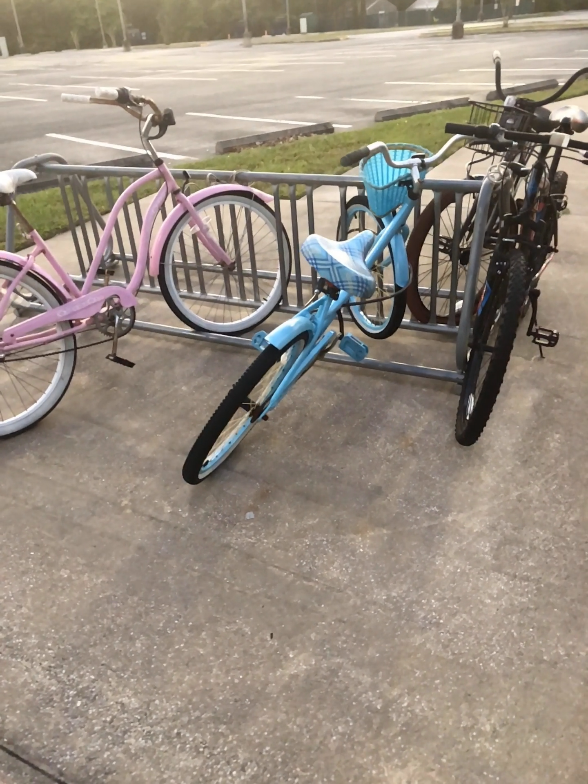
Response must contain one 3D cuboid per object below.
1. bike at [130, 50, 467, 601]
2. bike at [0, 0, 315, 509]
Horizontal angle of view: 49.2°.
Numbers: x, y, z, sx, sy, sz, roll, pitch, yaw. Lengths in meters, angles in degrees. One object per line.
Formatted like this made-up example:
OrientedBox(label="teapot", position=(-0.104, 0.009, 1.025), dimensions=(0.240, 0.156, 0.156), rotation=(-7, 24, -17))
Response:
OrientedBox(label="bike", position=(0.145, -0.376, 2.079), dimensions=(0.584, 0.953, 1.425), rotation=(7, 38, 21))
OrientedBox(label="bike", position=(-0.797, -0.676, 2.432), dimensions=(1.609, 1.146, 0.775), rotation=(-33, 39, -28))
